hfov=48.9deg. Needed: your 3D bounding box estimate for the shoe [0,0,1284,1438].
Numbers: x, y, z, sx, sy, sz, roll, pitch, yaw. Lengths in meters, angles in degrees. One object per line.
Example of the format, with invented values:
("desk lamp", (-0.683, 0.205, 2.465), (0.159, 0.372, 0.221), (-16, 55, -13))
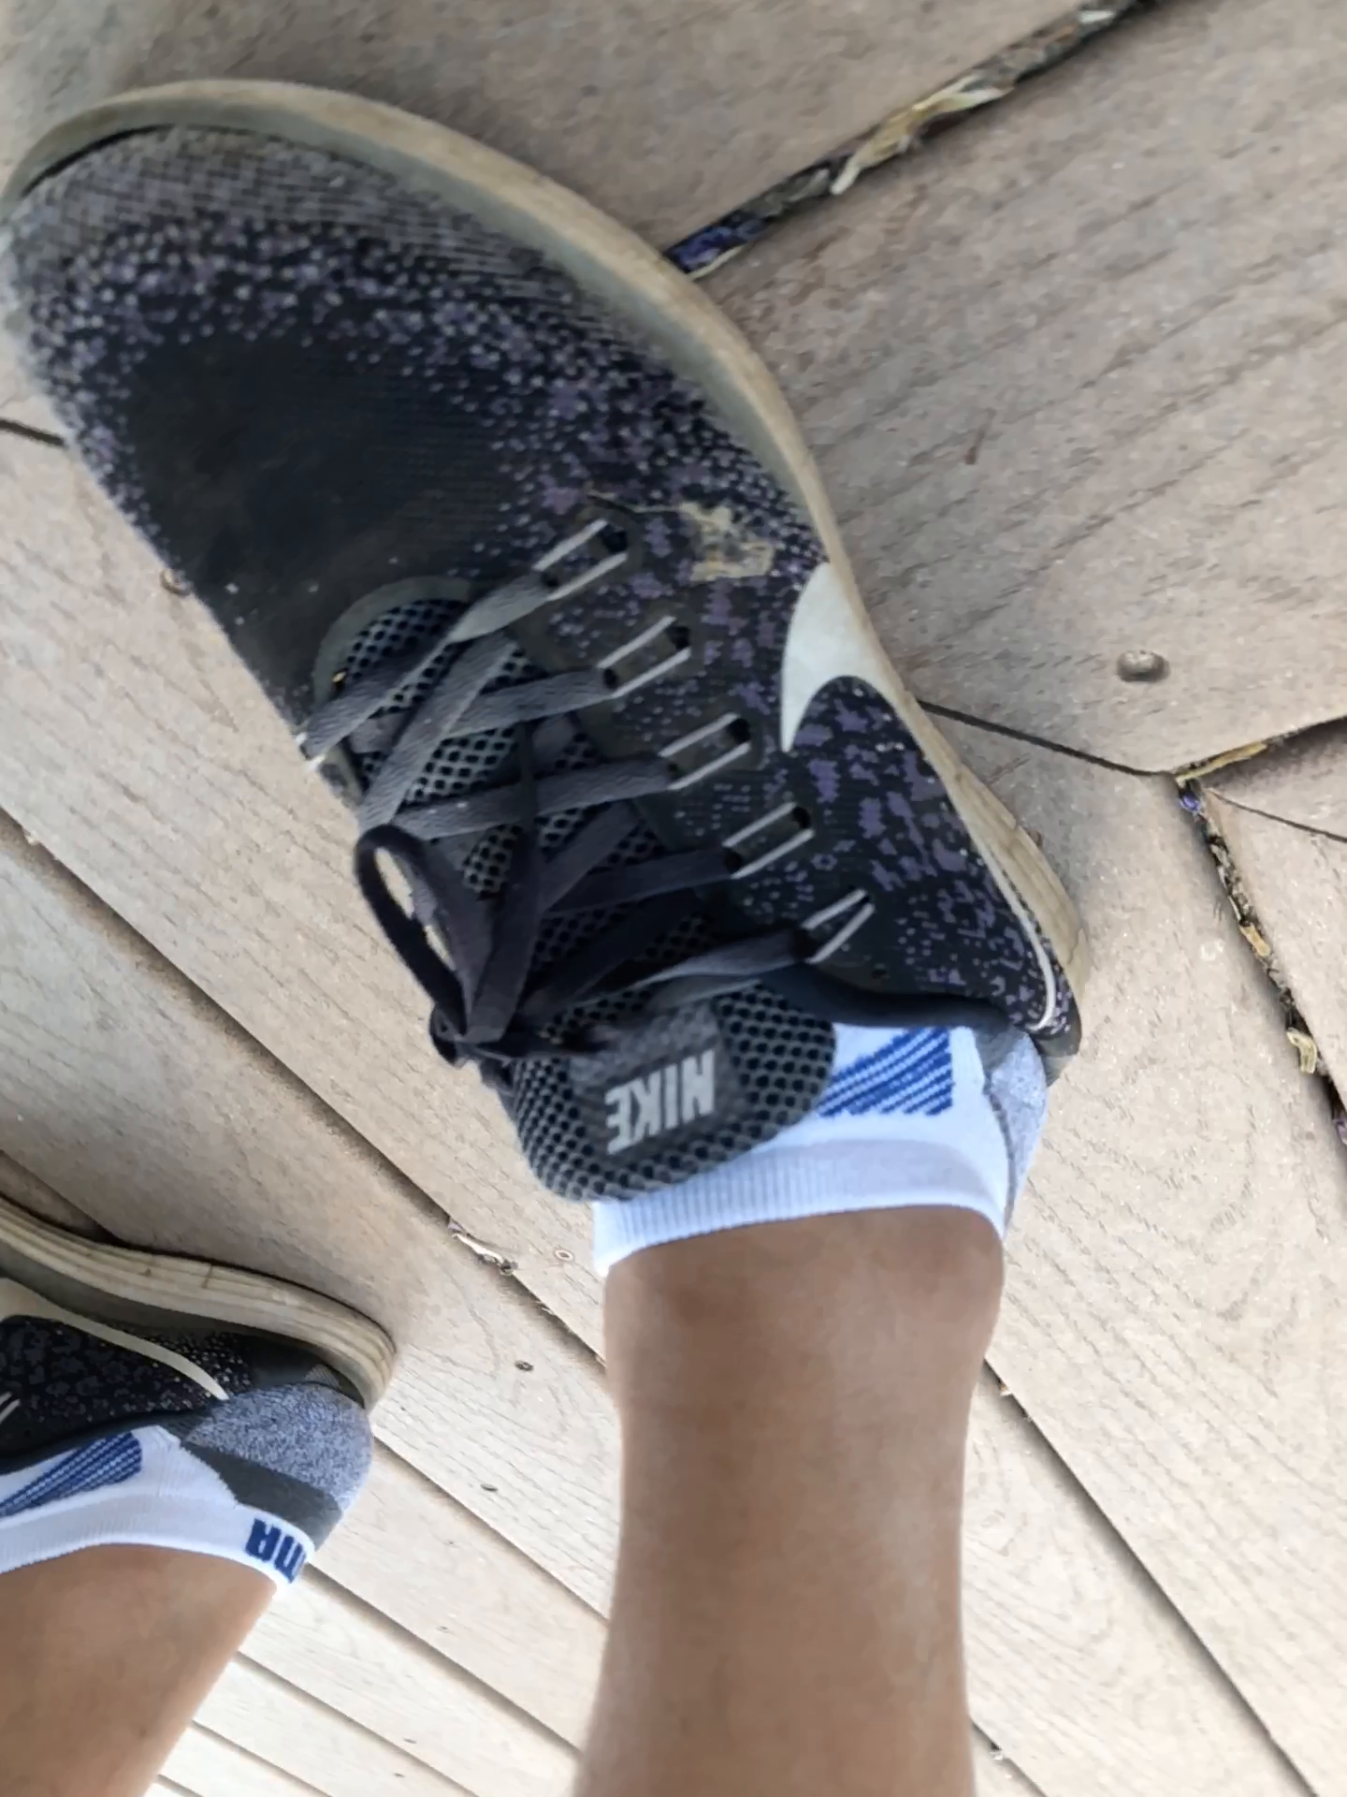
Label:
("shoe", (-0.013, -0.025, 0.304), (0.130, 0.099, 0.301), (-27, 118, 35))
